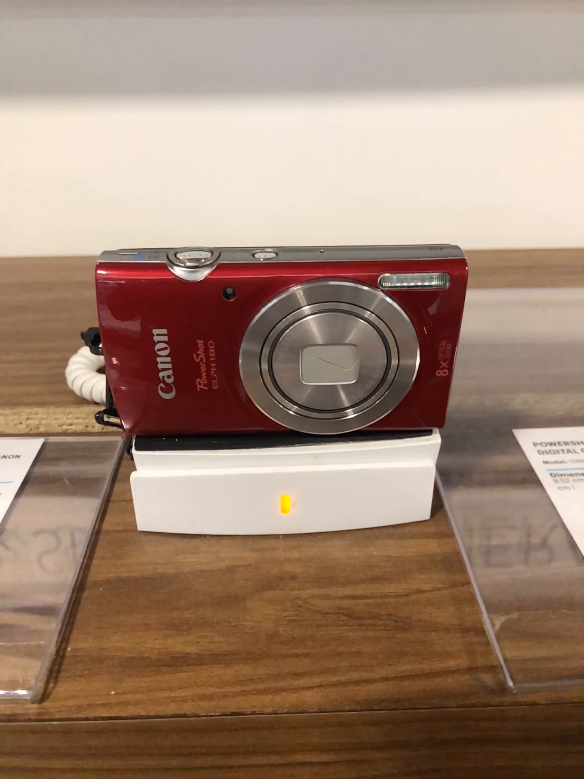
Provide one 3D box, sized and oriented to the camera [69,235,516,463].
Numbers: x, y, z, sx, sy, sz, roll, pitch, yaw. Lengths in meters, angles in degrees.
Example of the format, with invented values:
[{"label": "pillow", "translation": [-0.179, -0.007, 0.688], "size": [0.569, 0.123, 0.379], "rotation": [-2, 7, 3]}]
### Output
[{"label": "camera", "translation": [0.000, -0.011, 0.172], "size": [0.100, 0.050, 0.030], "rotation": [-1, 30, -1]}]
